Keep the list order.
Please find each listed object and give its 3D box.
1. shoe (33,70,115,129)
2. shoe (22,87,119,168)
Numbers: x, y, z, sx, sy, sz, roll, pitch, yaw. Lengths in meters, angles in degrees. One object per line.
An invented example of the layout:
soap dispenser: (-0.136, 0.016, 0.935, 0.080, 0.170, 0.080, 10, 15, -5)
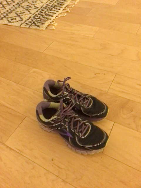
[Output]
shoe: (0.013, 0.013, 0.578, 0.270, 0.079, 0.121, 19, 54, 20)
shoe: (-0.004, 0.095, 0.501, 0.280, 0.079, 0.121, 25, 57, 24)
